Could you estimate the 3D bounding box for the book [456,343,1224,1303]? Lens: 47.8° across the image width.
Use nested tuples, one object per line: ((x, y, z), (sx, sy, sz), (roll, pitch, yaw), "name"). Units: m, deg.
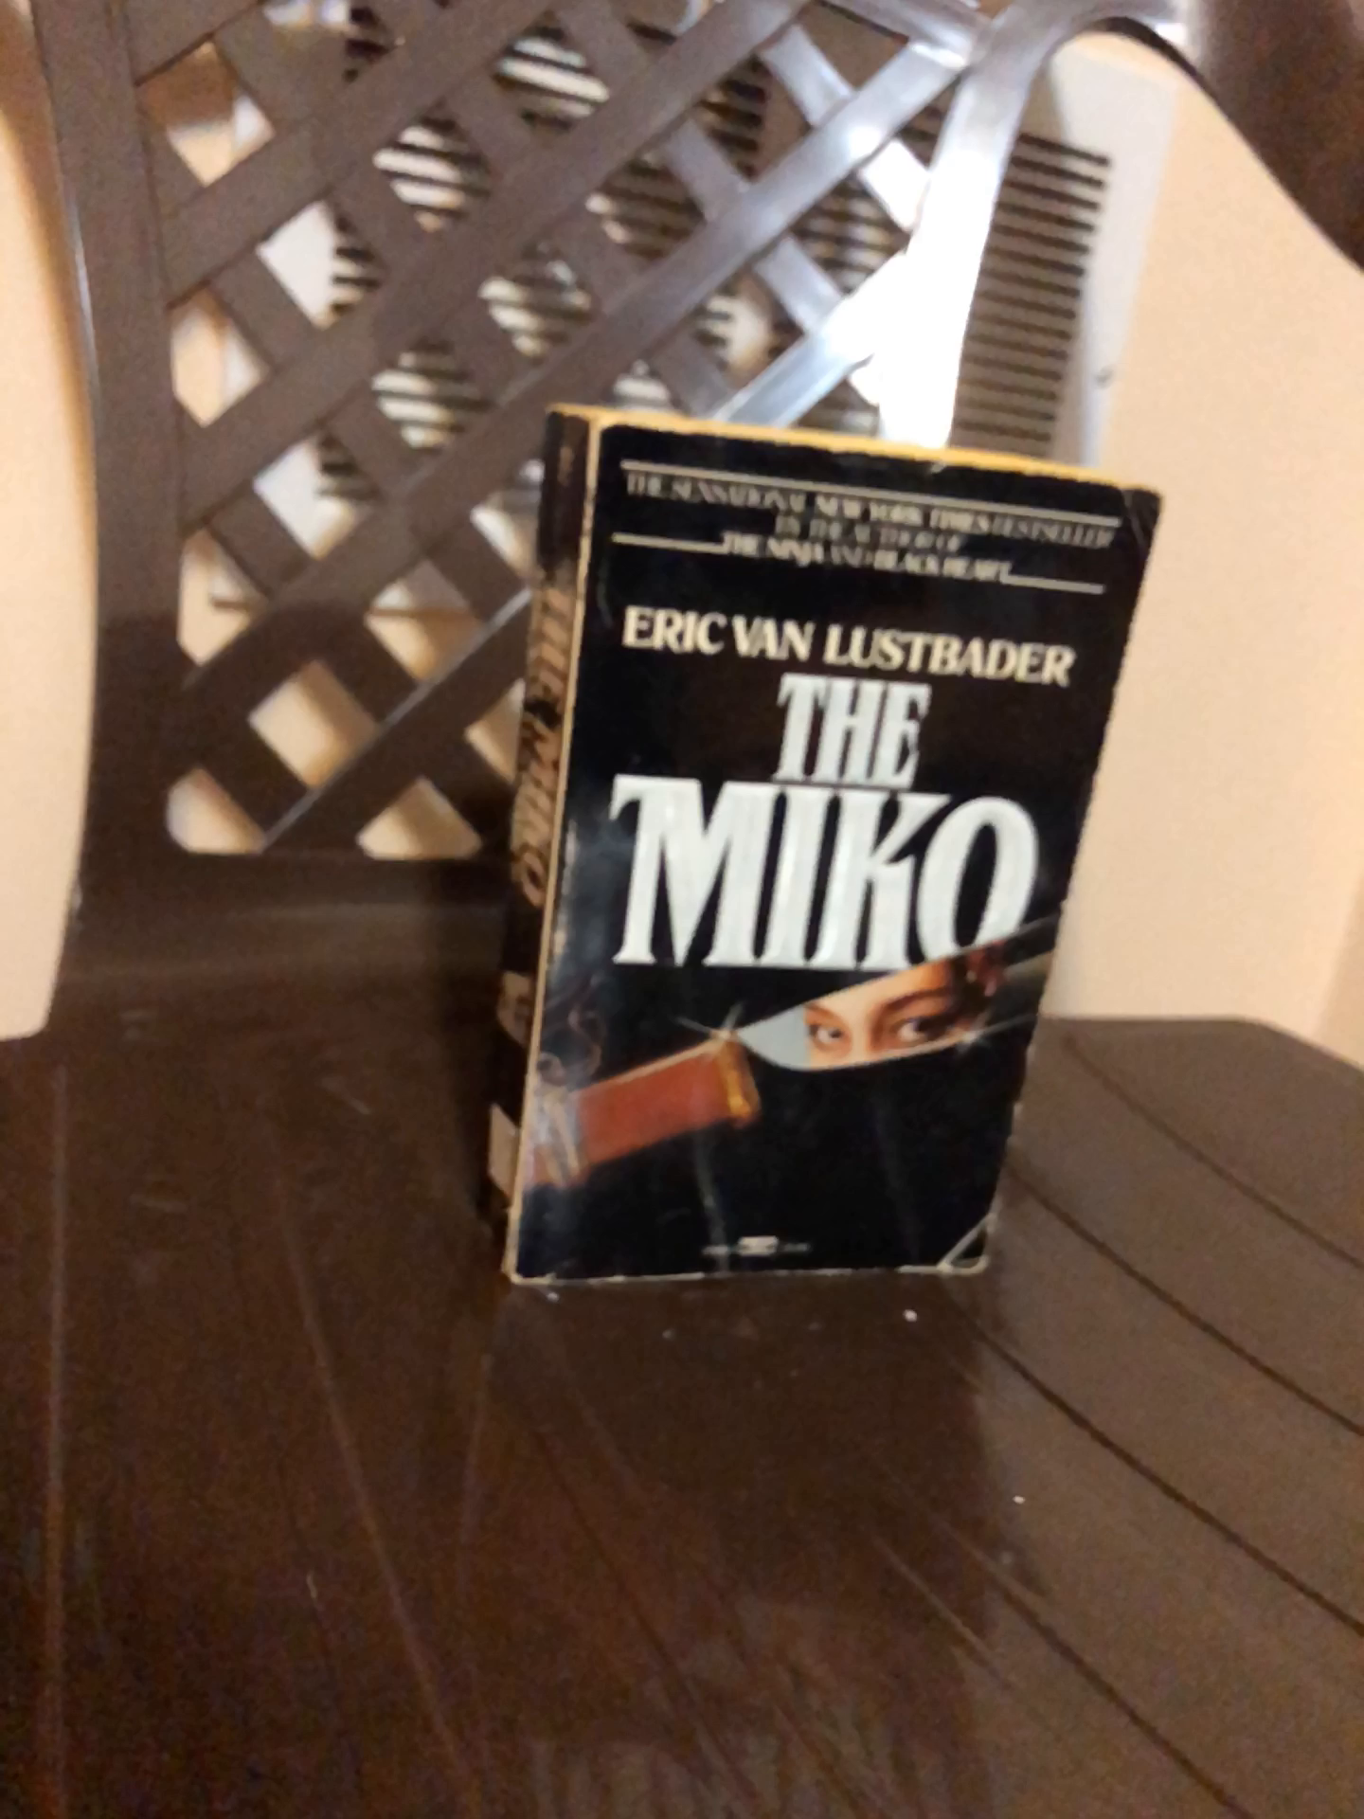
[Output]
((0.026, -0.012, 0.302), (0.120, 0.170, 0.040), (3, 15, -18), "book")
